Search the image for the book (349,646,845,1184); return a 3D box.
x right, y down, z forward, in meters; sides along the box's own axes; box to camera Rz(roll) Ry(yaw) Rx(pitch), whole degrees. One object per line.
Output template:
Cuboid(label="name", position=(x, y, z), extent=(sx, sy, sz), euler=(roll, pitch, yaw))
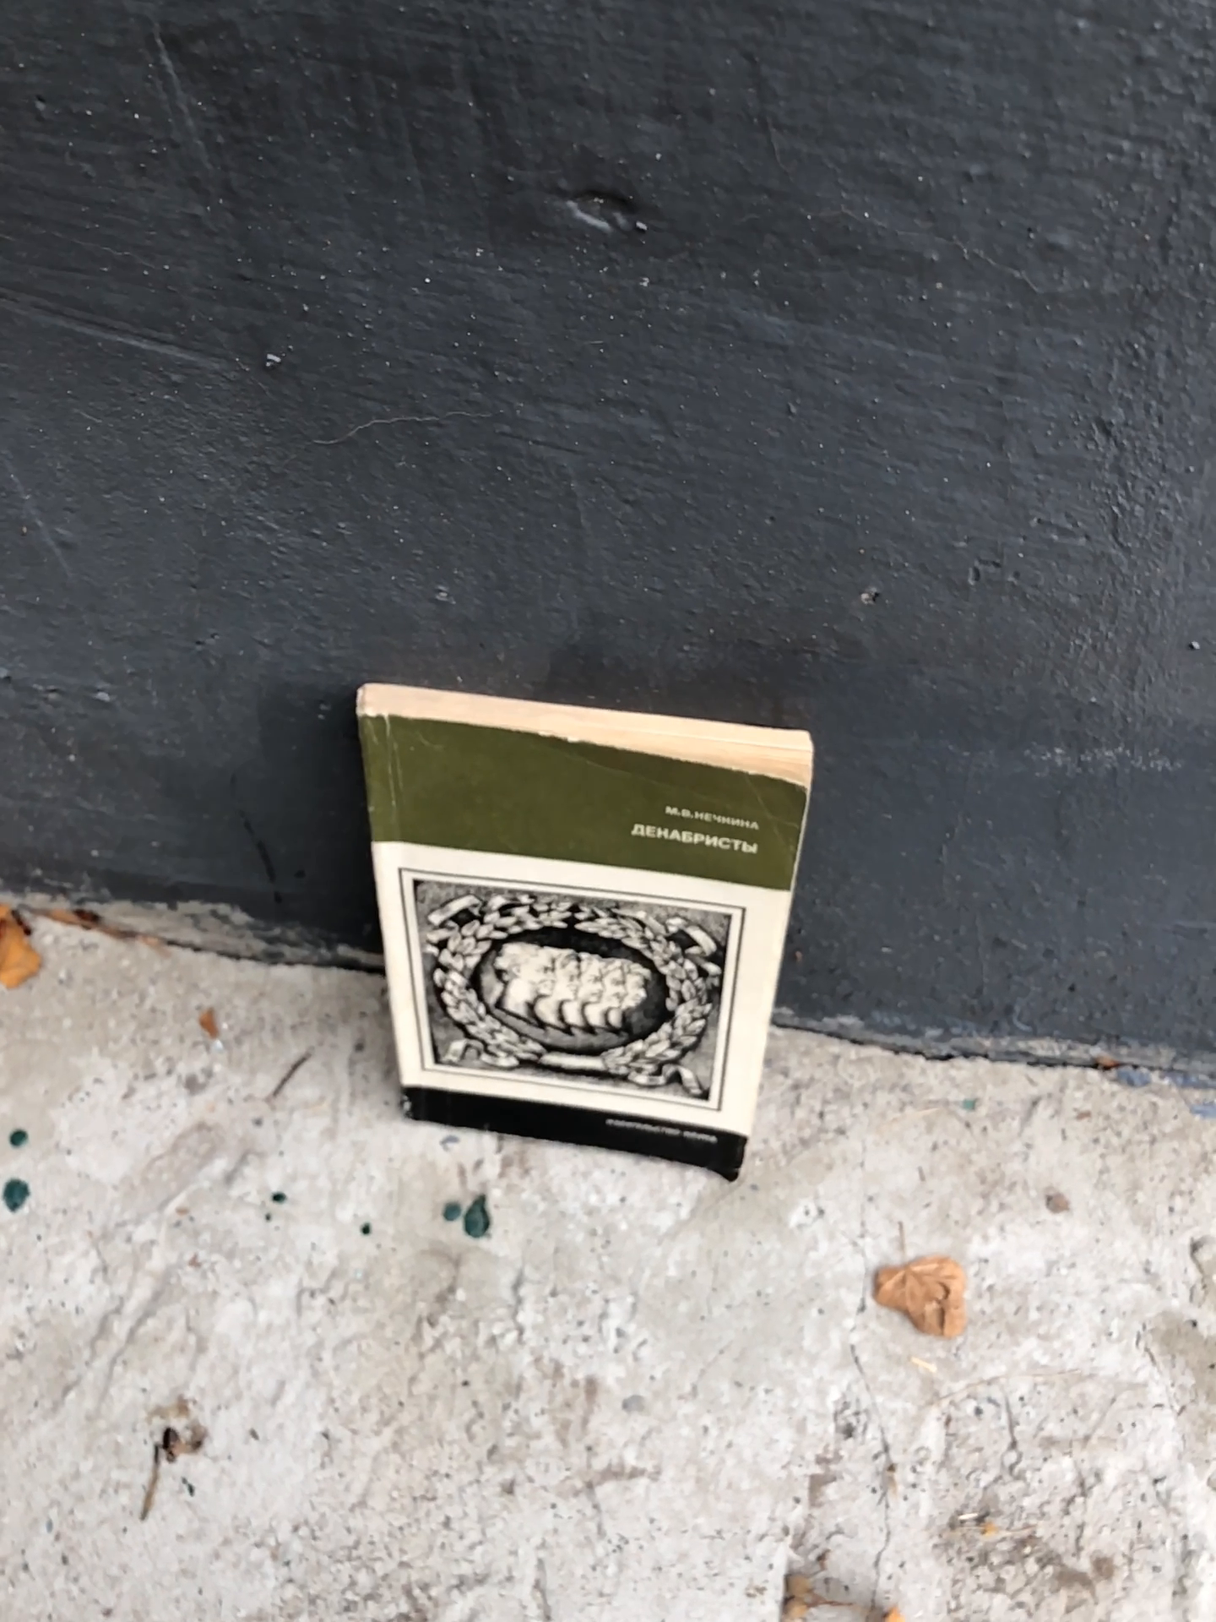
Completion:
Cuboid(label="book", position=(-0.007, 0.038, 0.386), extent=(0.120, 0.170, 0.020), euler=(8, 40, 5))
